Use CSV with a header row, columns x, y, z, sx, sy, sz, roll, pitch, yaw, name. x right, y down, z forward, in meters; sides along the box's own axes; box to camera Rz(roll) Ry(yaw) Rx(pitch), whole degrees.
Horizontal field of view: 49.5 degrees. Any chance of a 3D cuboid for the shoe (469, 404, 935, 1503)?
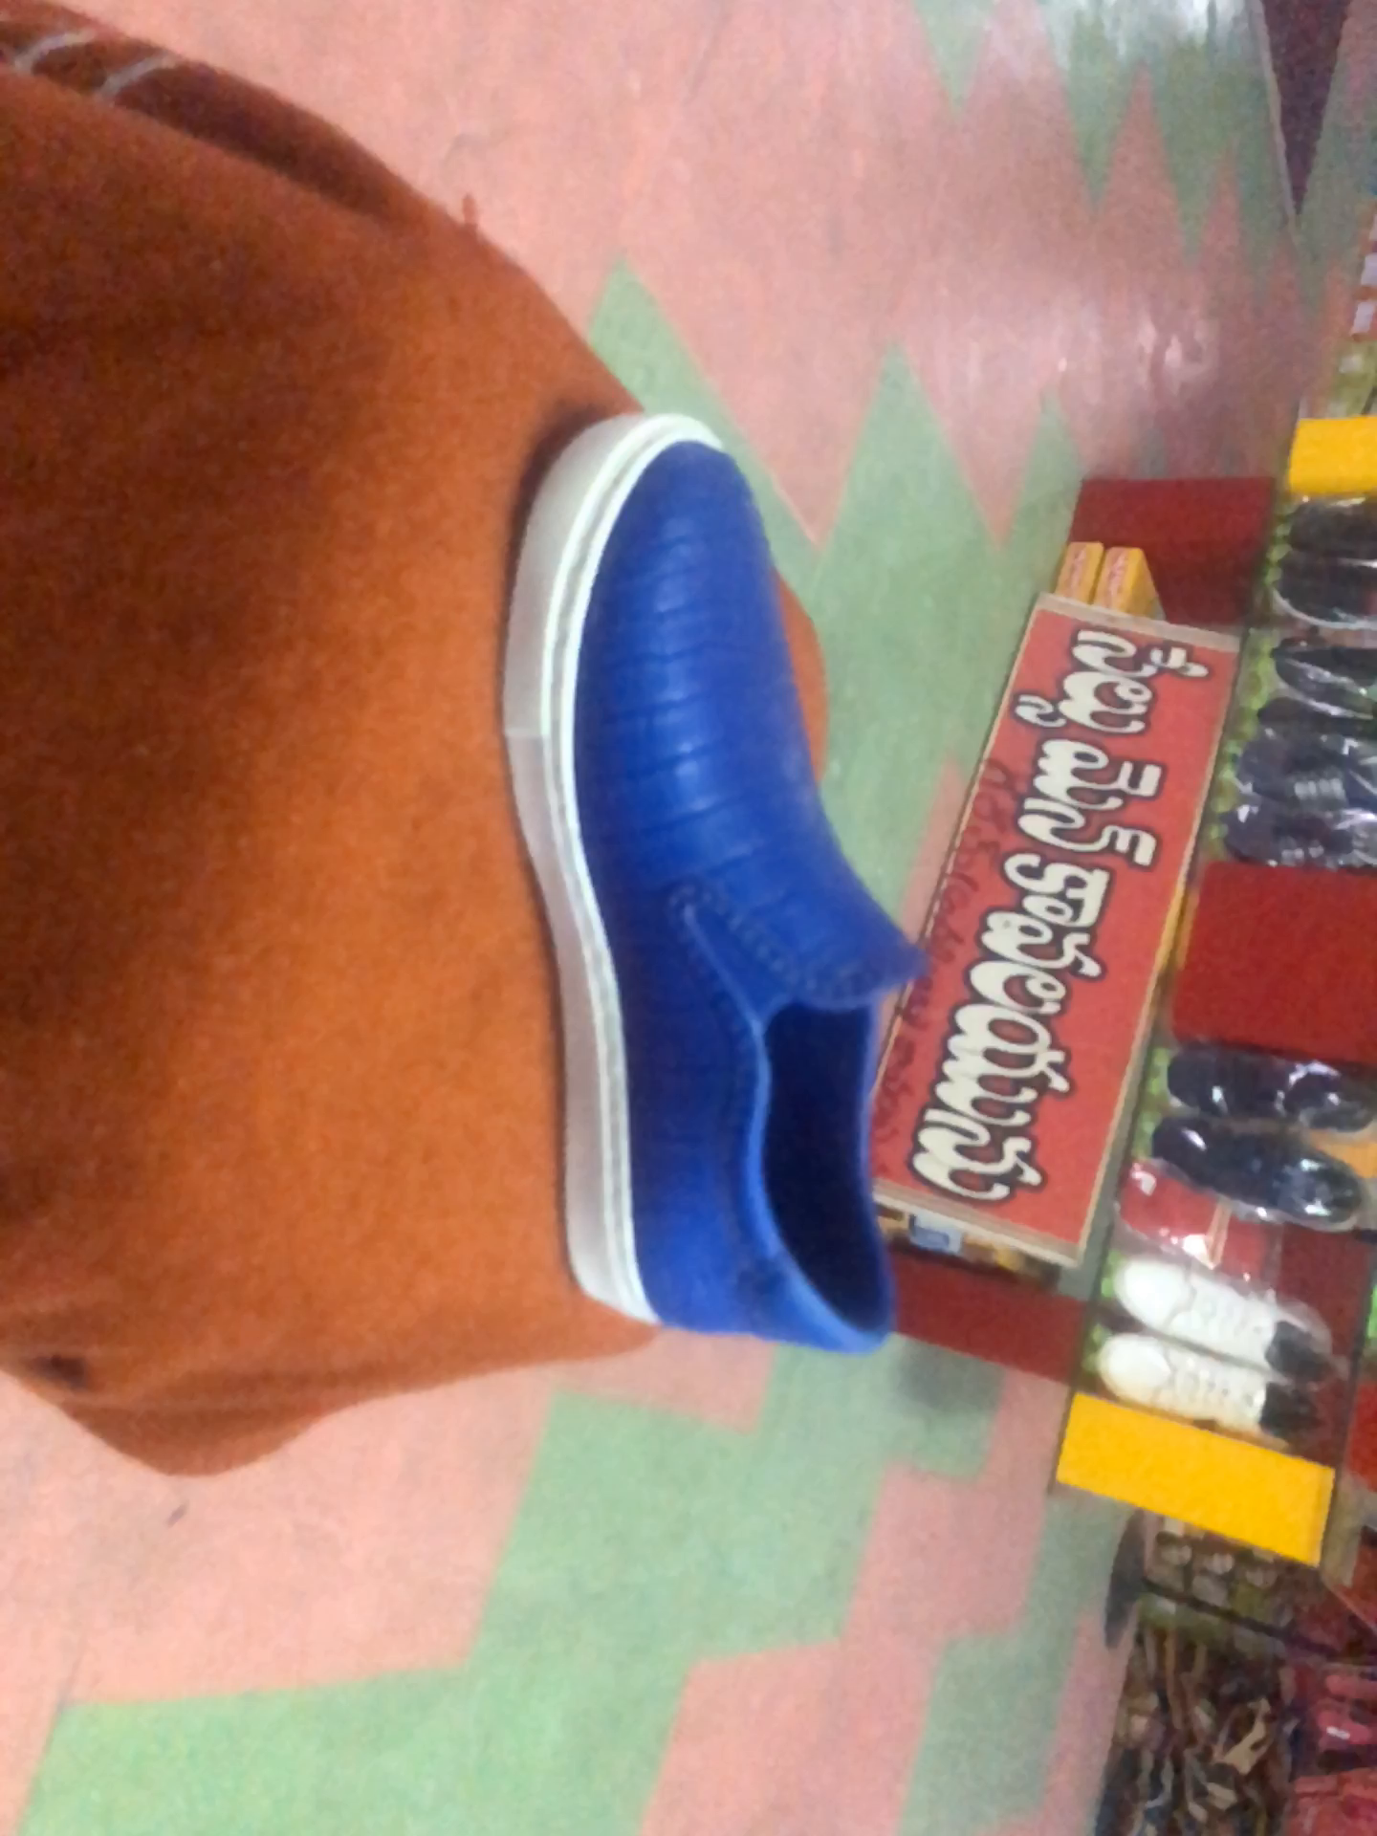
x,y,z,sx,sy,sz,roll,pitch,yaw,name
0.015,0.006,0.451,0.111,0.079,0.300,-28,120,-53,shoe
